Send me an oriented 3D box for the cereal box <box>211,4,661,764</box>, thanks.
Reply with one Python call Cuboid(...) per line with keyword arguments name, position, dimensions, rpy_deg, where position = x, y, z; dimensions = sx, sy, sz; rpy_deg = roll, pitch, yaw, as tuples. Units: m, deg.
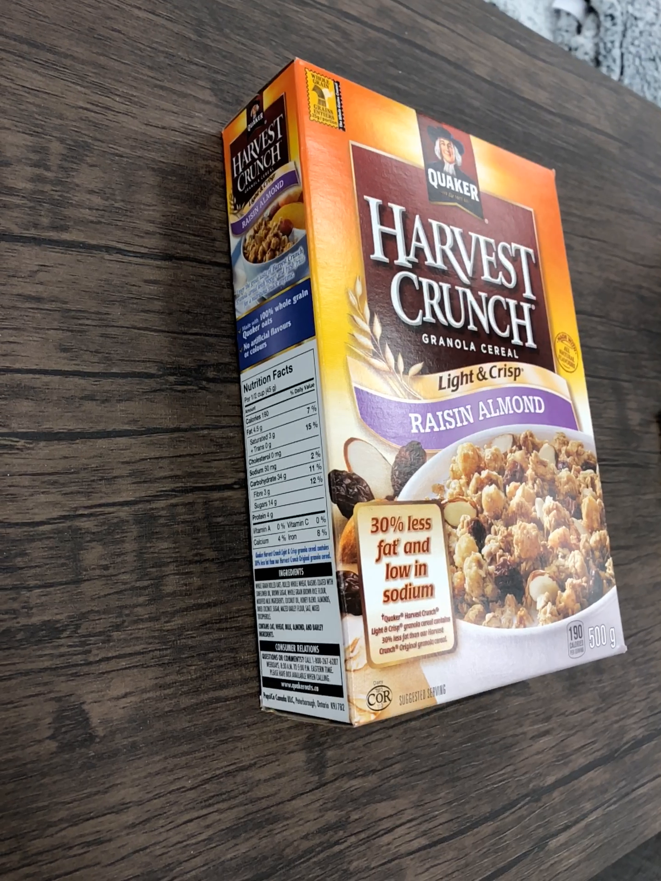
Cuboid(name="cereal box", position=(0.051, -0.018, 0.294), dimensions=(0.181, 0.050, 0.230), rpy_deg=(3, 79, -39))
